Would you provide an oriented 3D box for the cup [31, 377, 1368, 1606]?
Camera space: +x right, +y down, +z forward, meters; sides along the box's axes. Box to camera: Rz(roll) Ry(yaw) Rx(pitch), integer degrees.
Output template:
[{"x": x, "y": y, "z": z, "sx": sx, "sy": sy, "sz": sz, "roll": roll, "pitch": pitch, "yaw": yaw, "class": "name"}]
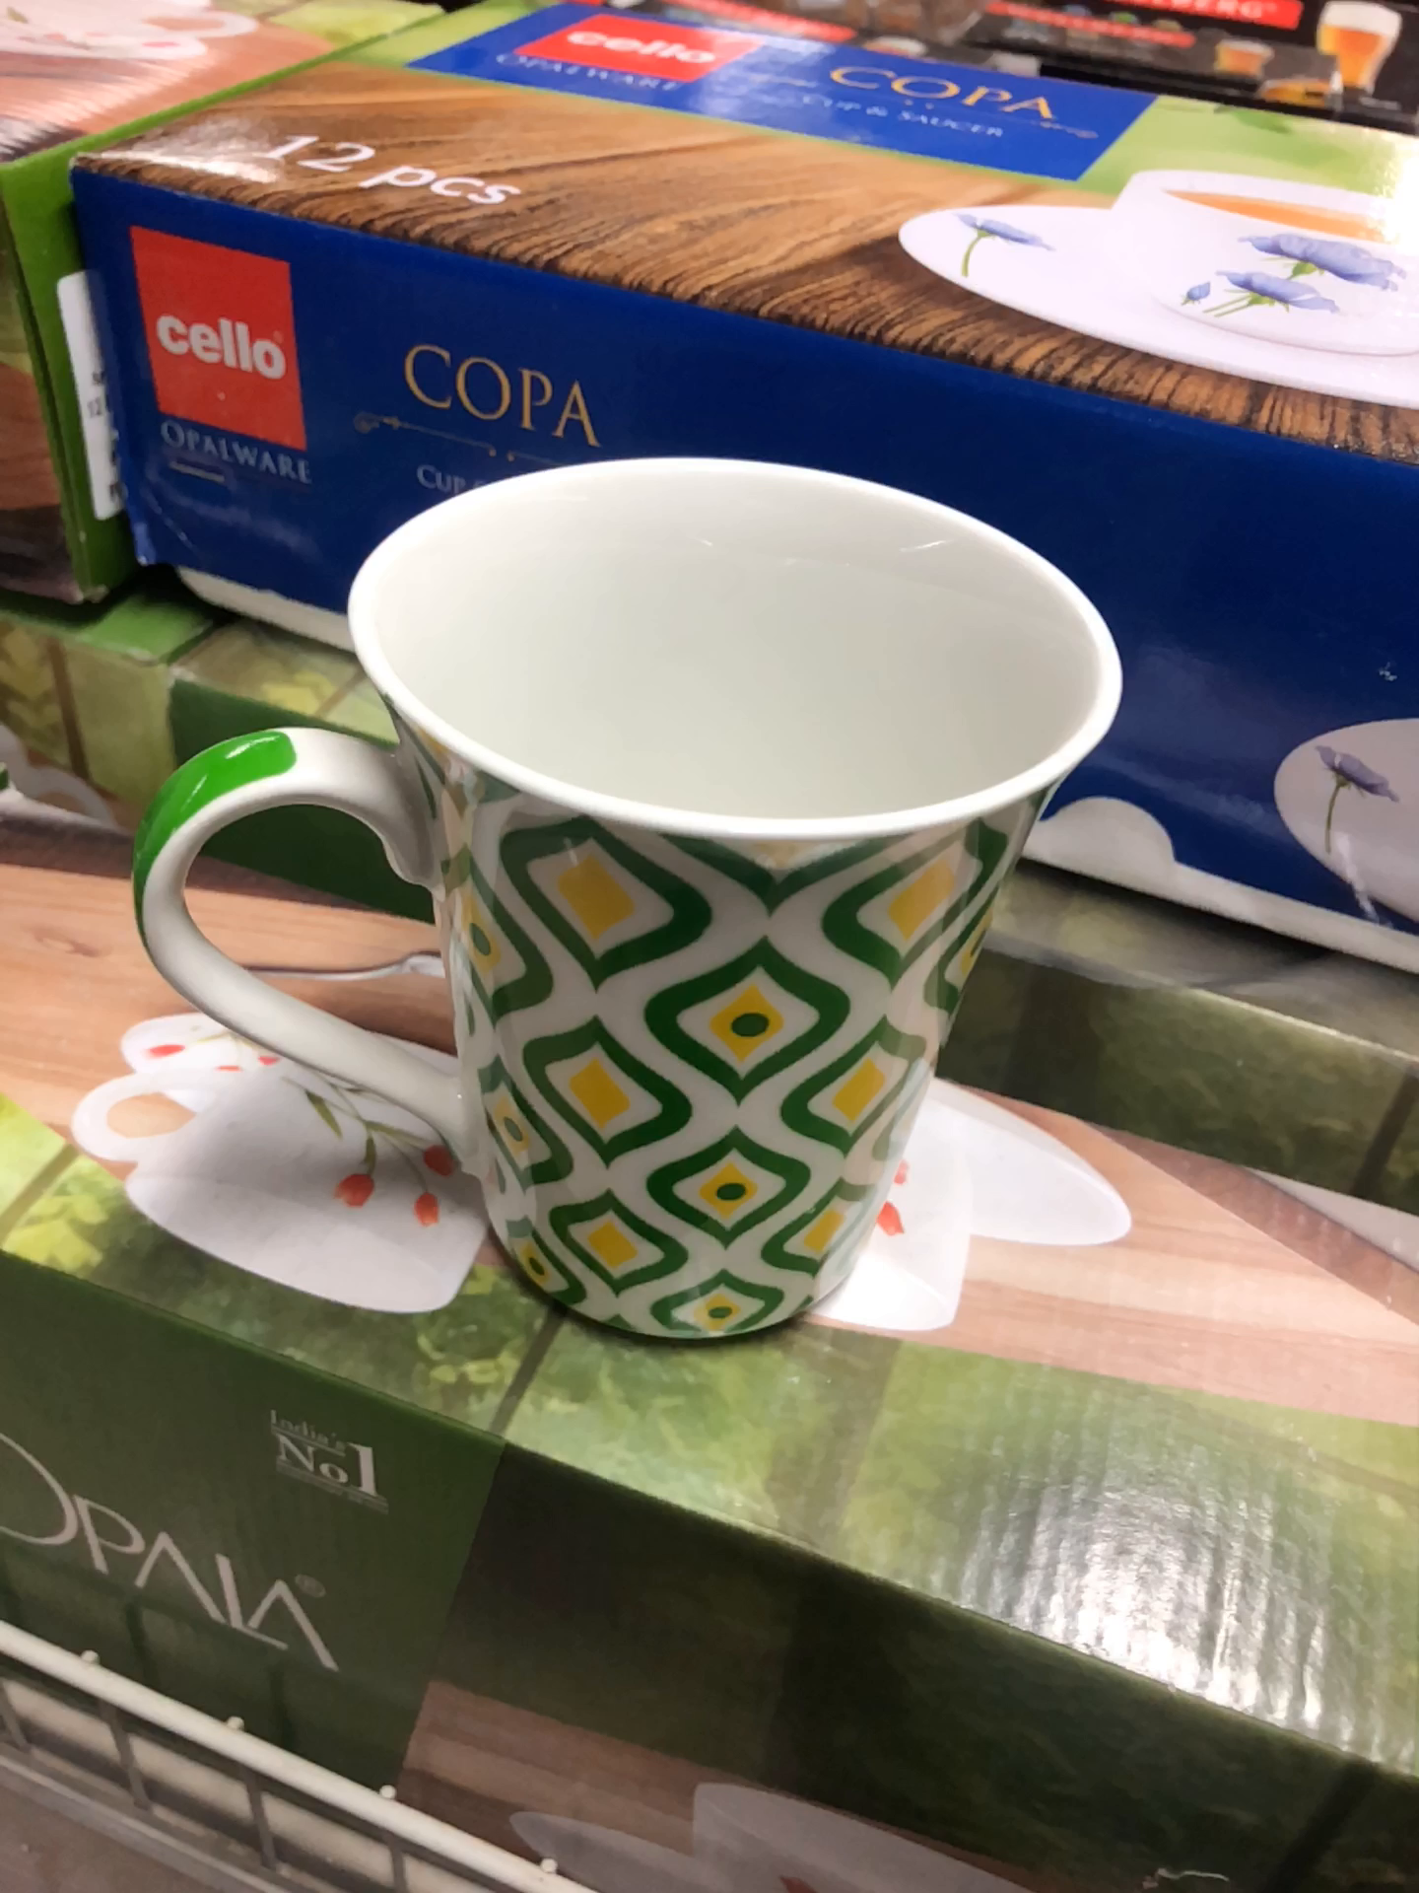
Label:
[{"x": -0.008, "y": 0.002, "z": 0.204, "sx": 0.120, "sy": 0.109, "sz": 0.080, "roll": -12, "pitch": 45, "yaw": -18, "class": "cup"}]
